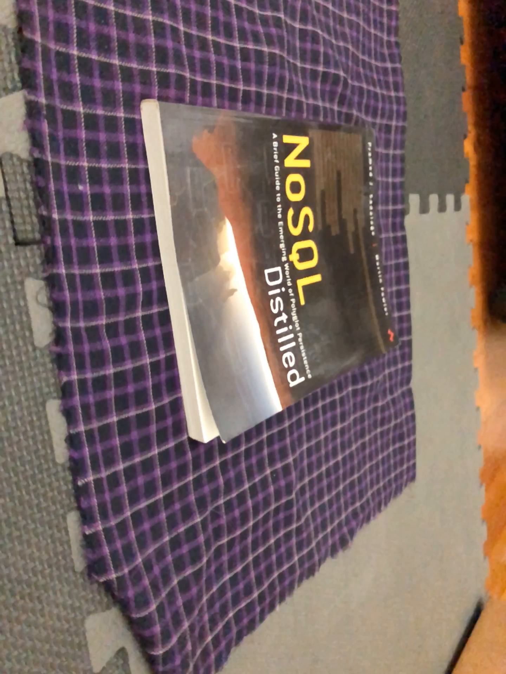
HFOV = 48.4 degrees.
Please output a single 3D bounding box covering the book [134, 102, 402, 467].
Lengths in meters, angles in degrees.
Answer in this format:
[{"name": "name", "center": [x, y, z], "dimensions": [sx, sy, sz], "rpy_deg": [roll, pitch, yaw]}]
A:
[{"name": "book", "center": [0.036, -0.049, 0.392], "dimensions": [0.251, 0.020, 0.190], "rpy_deg": [-20, 106, -50]}]
